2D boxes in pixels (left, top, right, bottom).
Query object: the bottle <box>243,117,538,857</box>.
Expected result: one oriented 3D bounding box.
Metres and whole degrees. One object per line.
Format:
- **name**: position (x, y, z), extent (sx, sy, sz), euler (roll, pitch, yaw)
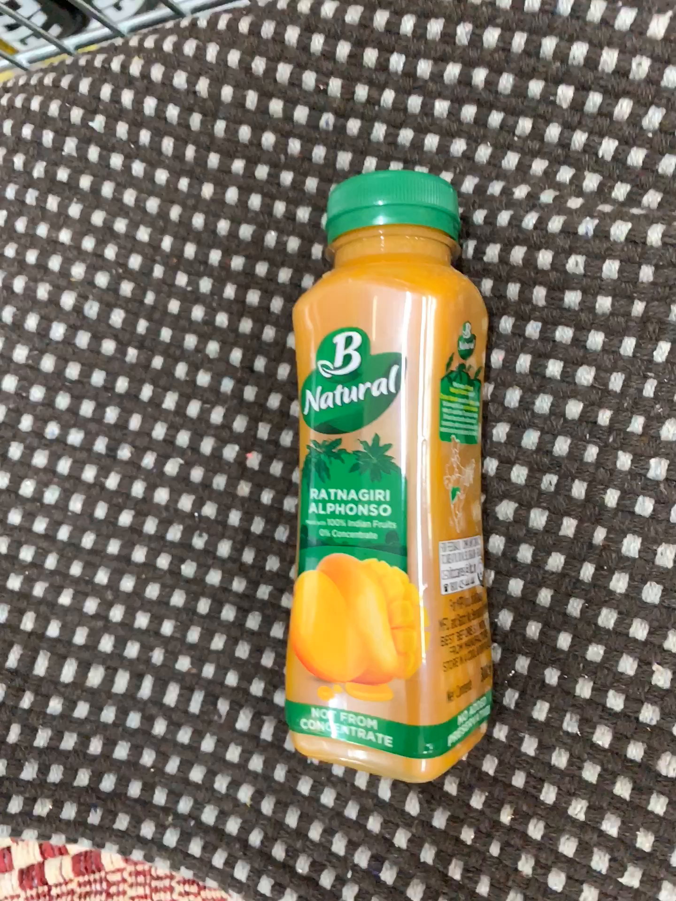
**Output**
- **bottle**: position (0.016, 0.008, 0.188), extent (0.060, 0.050, 0.160), euler (1, 90, 28)
